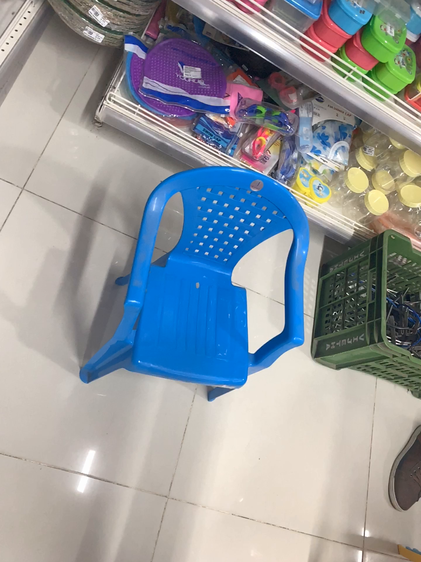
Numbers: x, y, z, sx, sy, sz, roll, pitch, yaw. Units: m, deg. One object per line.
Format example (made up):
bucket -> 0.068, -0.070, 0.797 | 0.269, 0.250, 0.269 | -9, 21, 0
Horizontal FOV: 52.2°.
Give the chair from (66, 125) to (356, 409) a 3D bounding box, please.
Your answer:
chair -> -0.030, 0.042, 0.913 | 0.401, 0.509, 0.360 | 16, 66, -20
